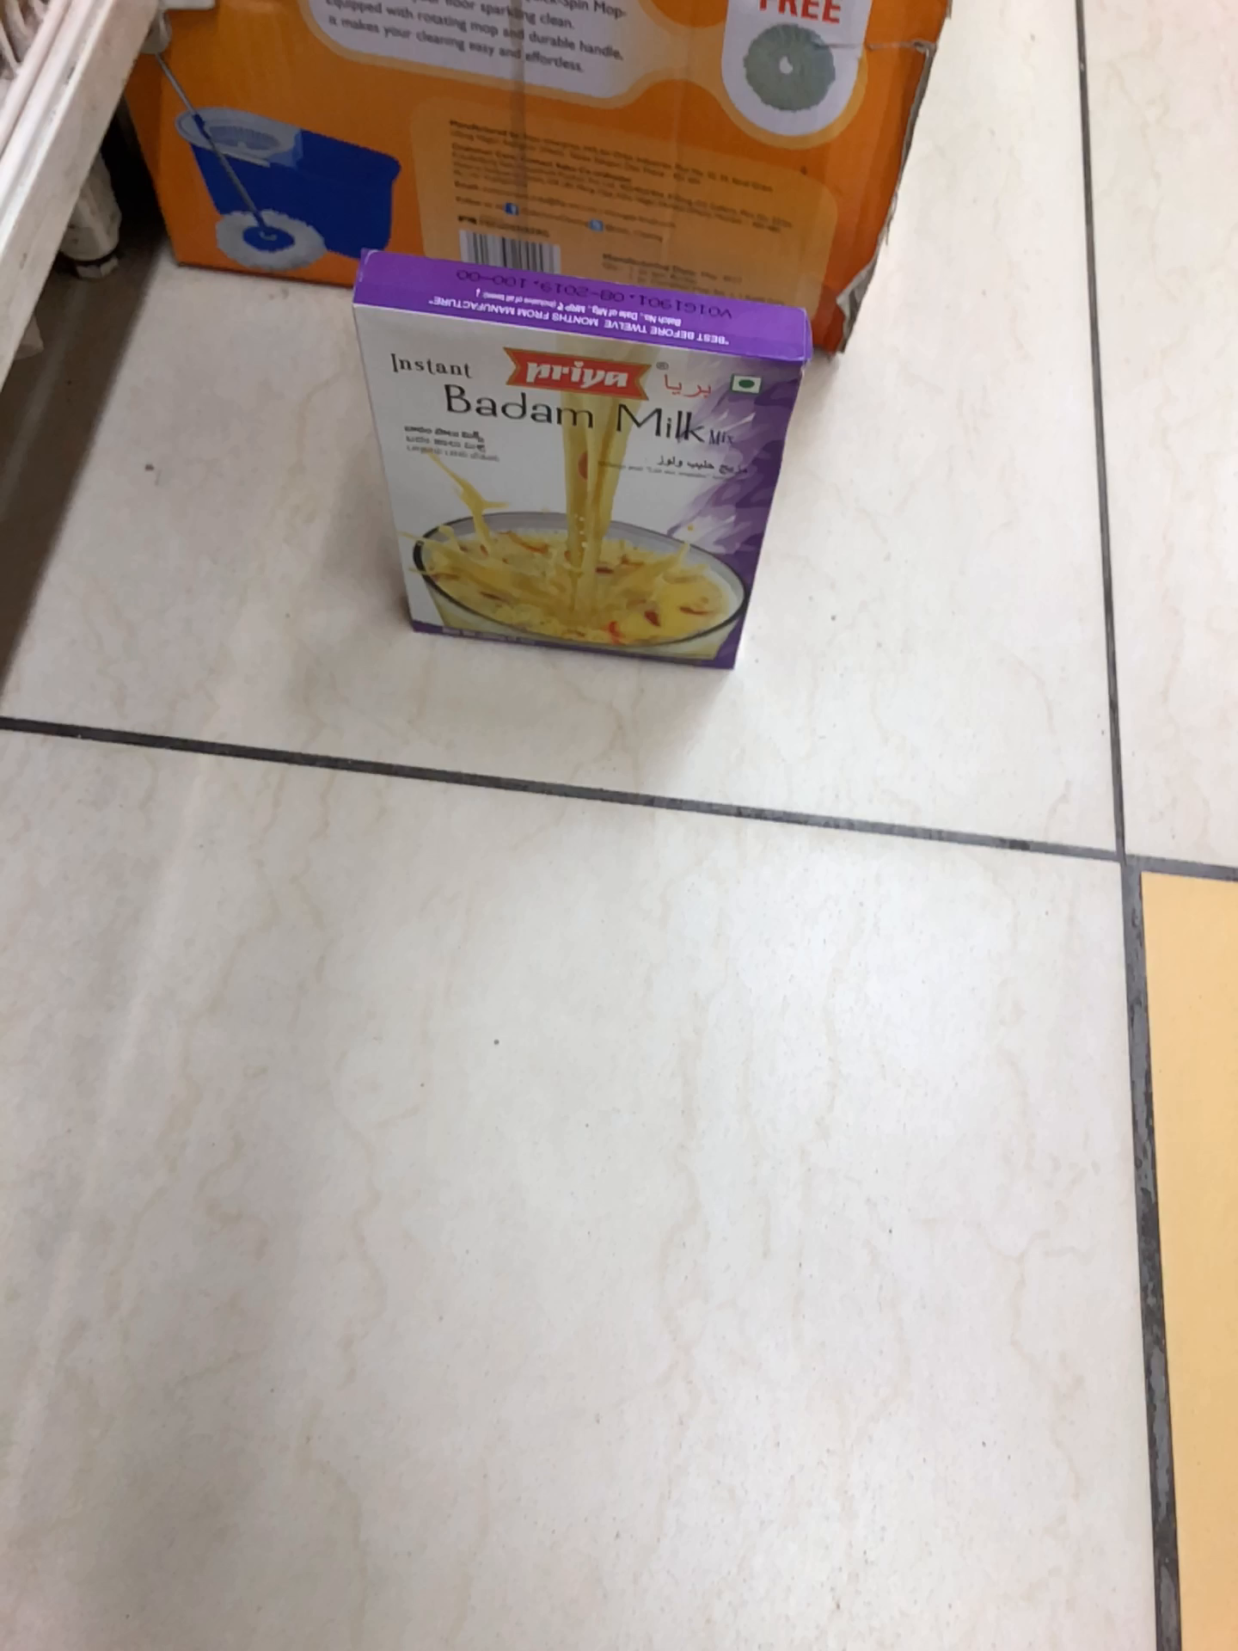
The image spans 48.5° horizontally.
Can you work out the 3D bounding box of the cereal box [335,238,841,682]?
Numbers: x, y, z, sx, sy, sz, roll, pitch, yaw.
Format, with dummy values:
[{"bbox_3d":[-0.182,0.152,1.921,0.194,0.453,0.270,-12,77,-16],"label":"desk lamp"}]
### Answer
[{"bbox_3d":[-0.010,-0.104,0.427,0.130,0.149,0.030,7,64,0],"label":"cereal box"}]
